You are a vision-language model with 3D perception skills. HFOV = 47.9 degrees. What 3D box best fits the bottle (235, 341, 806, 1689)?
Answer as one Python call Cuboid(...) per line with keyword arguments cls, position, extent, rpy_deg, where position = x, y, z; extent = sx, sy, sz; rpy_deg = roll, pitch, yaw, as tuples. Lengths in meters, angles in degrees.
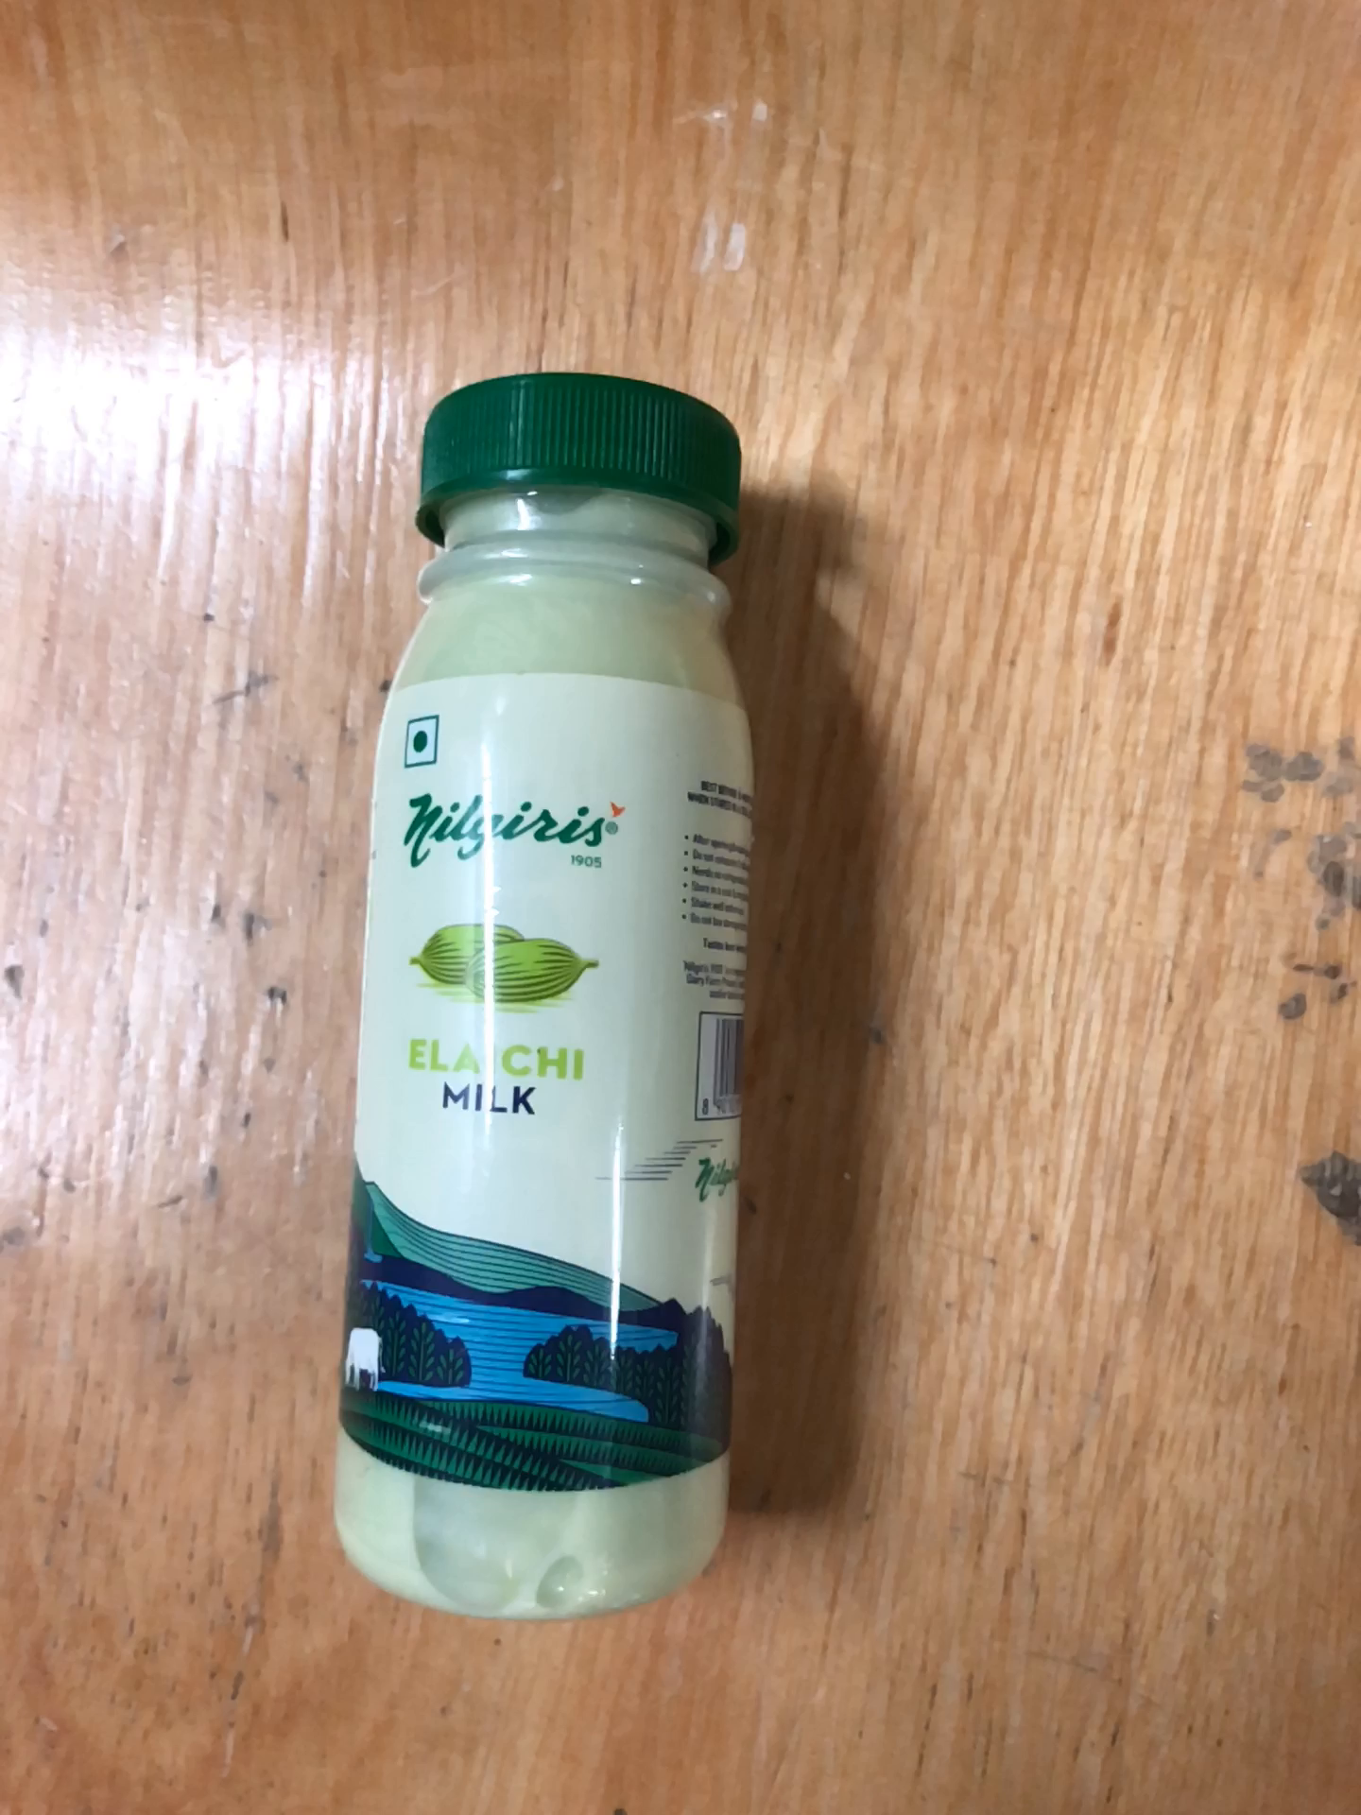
Cuboid(cls="bottle", position=(-0.015, 0.009, 0.183), extent=(0.050, 0.040, 0.140), rpy_deg=(3, 87, 8))
